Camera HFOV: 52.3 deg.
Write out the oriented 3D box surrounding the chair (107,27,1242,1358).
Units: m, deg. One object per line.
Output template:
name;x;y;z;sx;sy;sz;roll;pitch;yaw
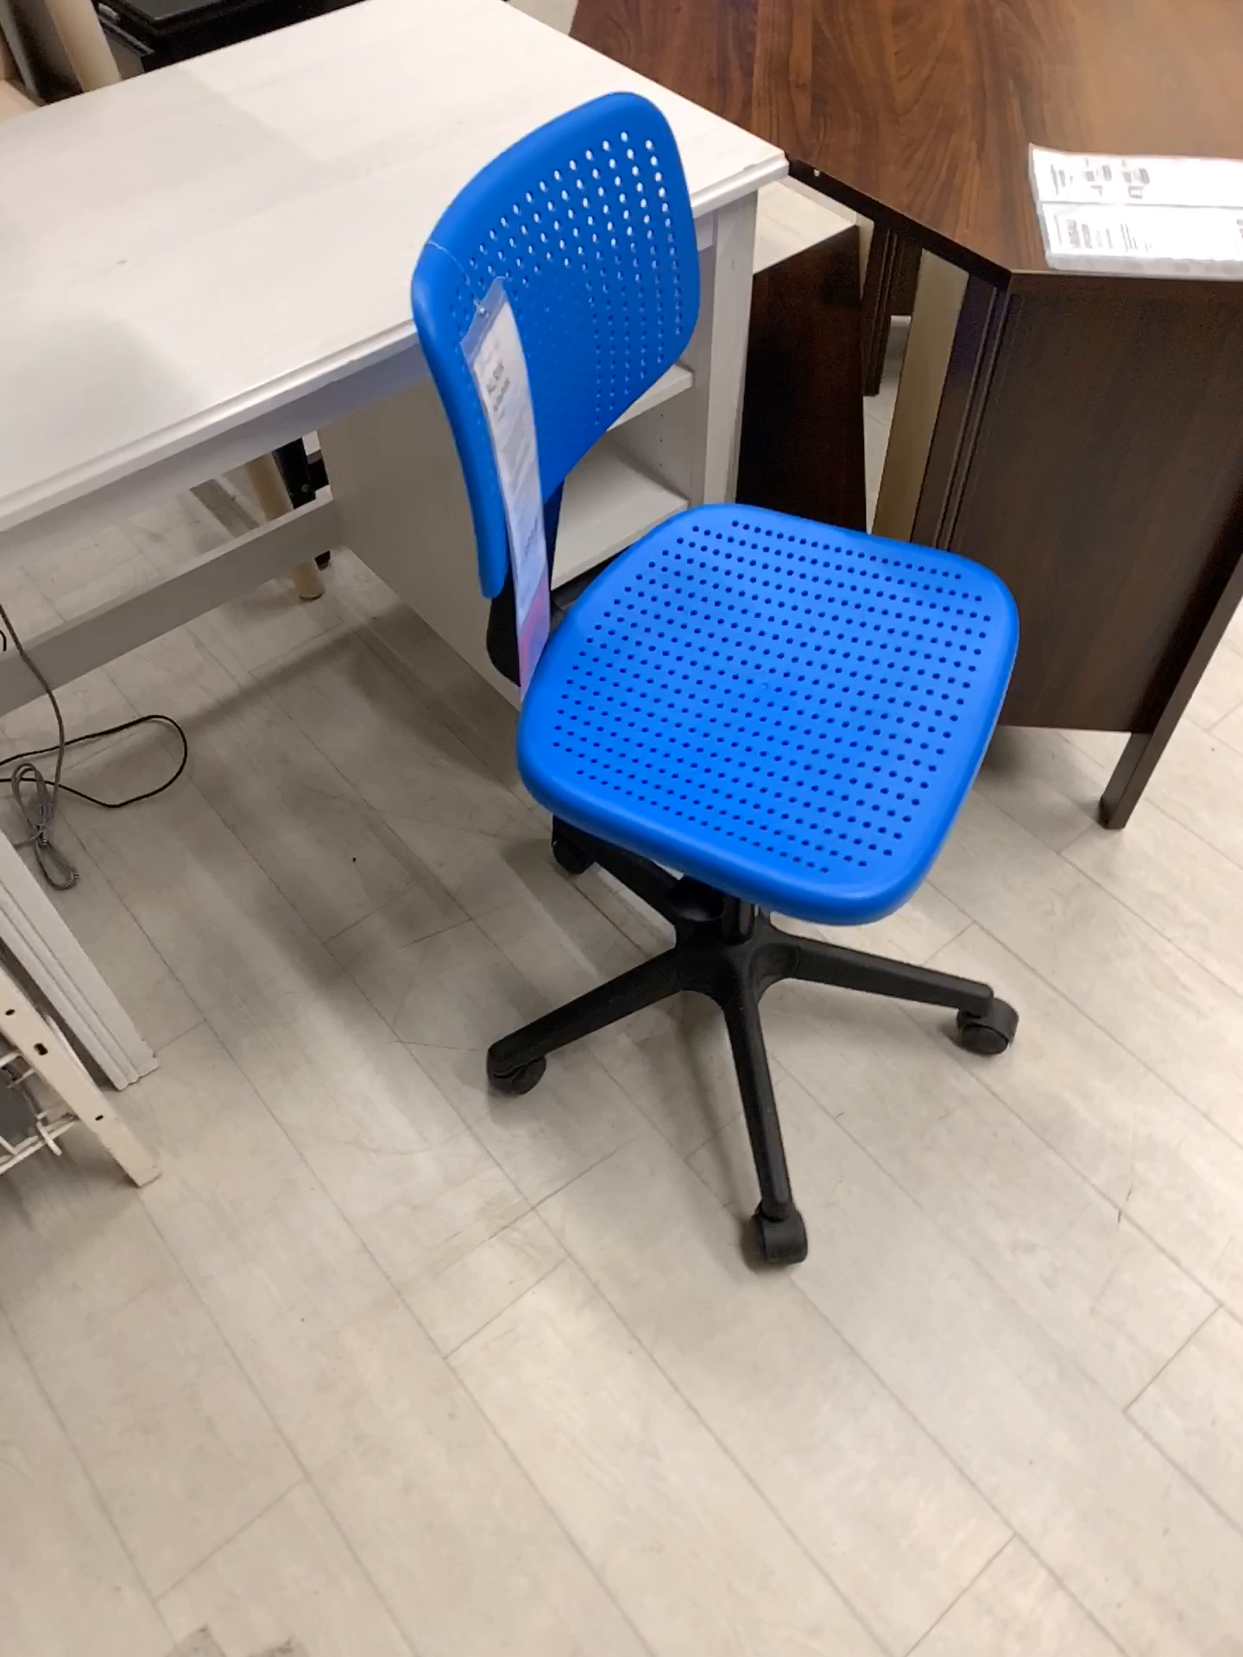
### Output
chair;0.128;-0.075;1.136;0.620;0.857;0.612;22;56;17
